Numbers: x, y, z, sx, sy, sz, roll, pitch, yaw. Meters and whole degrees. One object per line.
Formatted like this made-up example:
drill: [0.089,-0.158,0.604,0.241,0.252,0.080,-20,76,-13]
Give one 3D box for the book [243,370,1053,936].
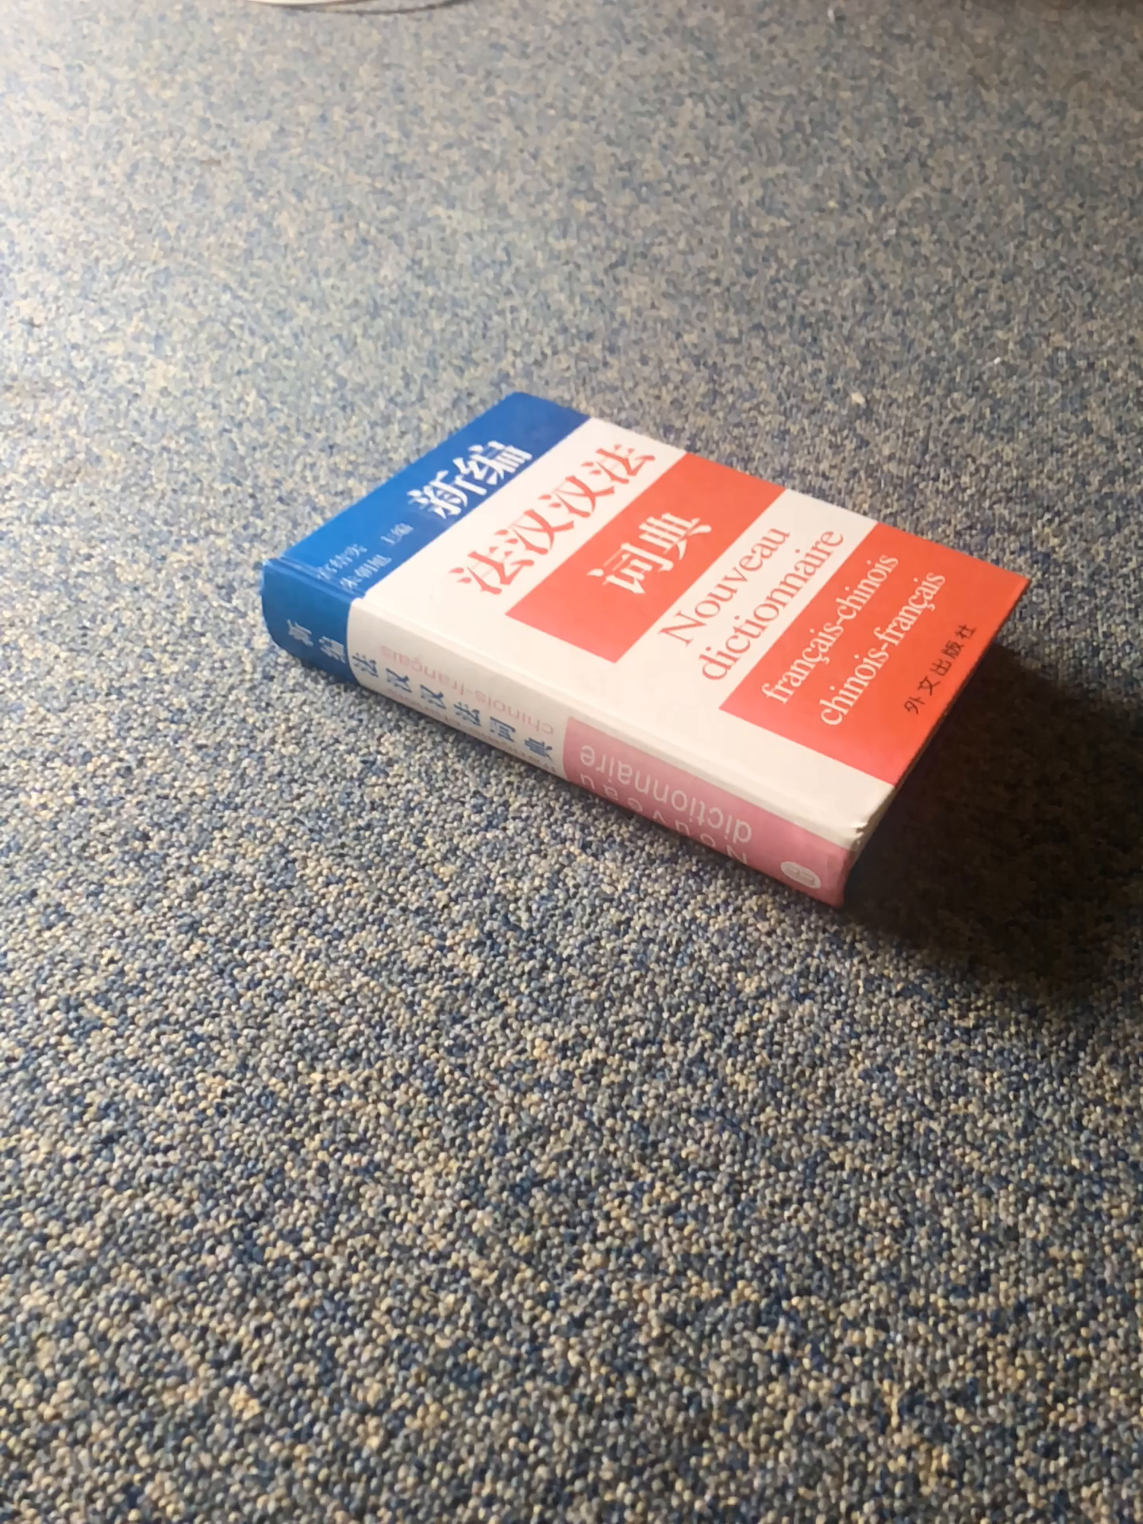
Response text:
book: [0.027,-0.052,0.410,0.208,0.034,0.153,26,48,20]
